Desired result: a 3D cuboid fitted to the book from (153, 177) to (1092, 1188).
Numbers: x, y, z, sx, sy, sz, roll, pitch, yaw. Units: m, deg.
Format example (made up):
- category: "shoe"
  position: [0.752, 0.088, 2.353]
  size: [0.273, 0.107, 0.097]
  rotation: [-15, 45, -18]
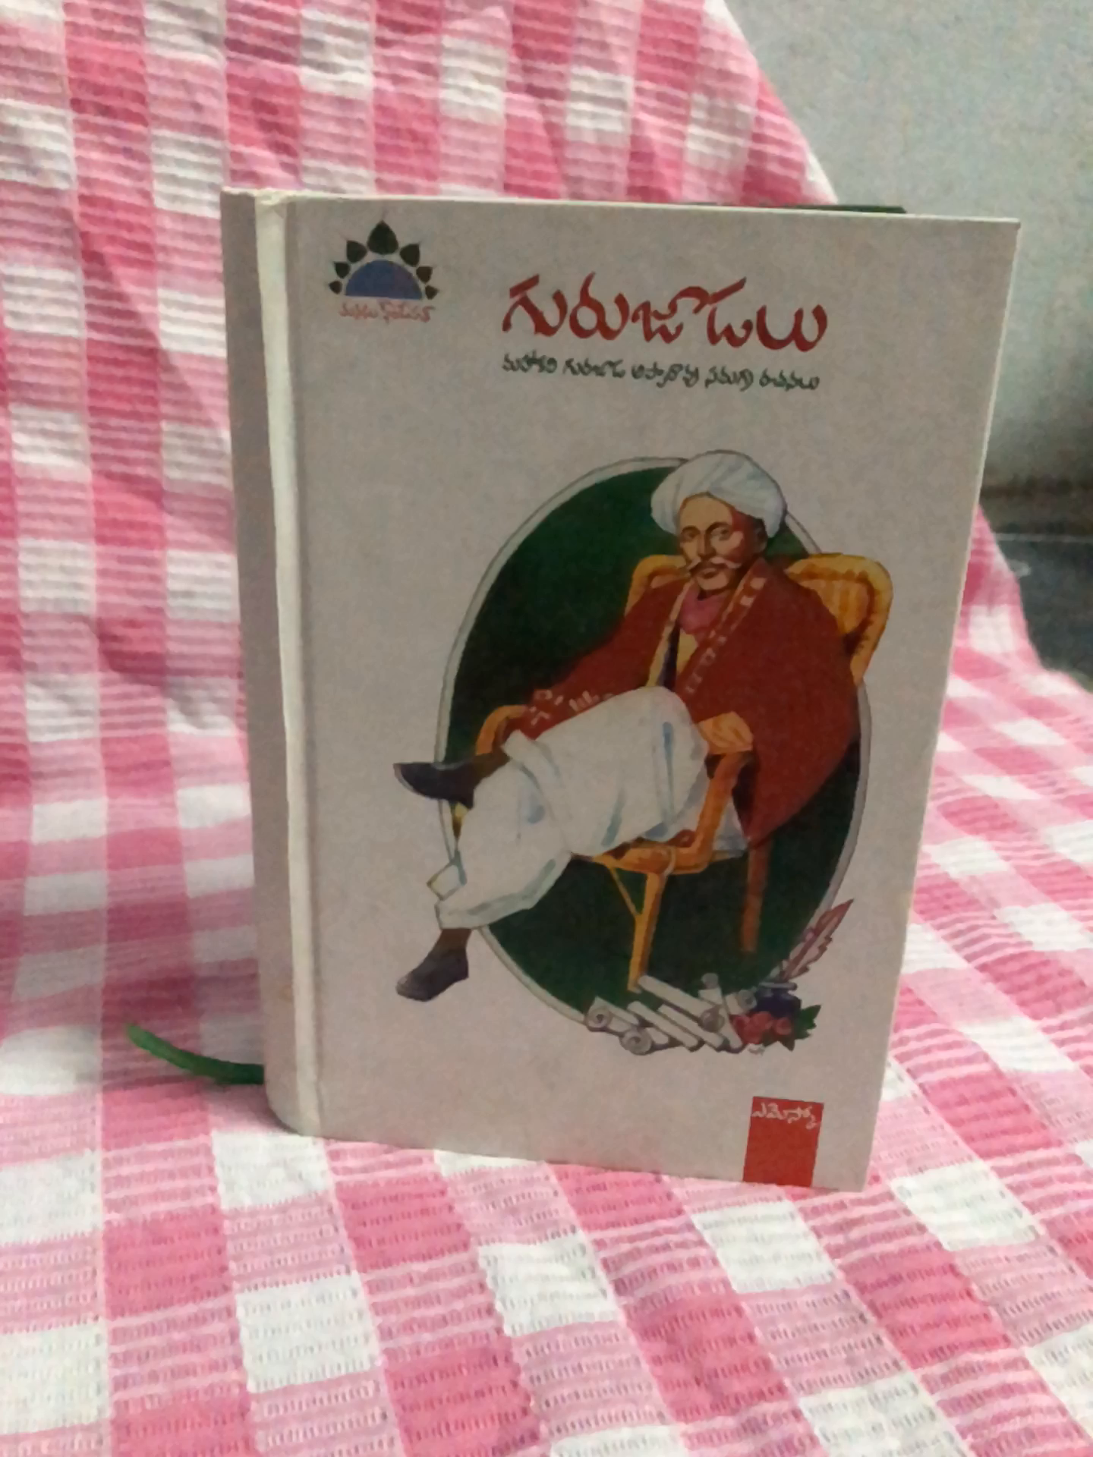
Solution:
- category: "book"
  position: [0.010, -0.008, 0.280]
  size: [0.160, 0.209, 0.070]
  rotation: [4, 24, 4]
